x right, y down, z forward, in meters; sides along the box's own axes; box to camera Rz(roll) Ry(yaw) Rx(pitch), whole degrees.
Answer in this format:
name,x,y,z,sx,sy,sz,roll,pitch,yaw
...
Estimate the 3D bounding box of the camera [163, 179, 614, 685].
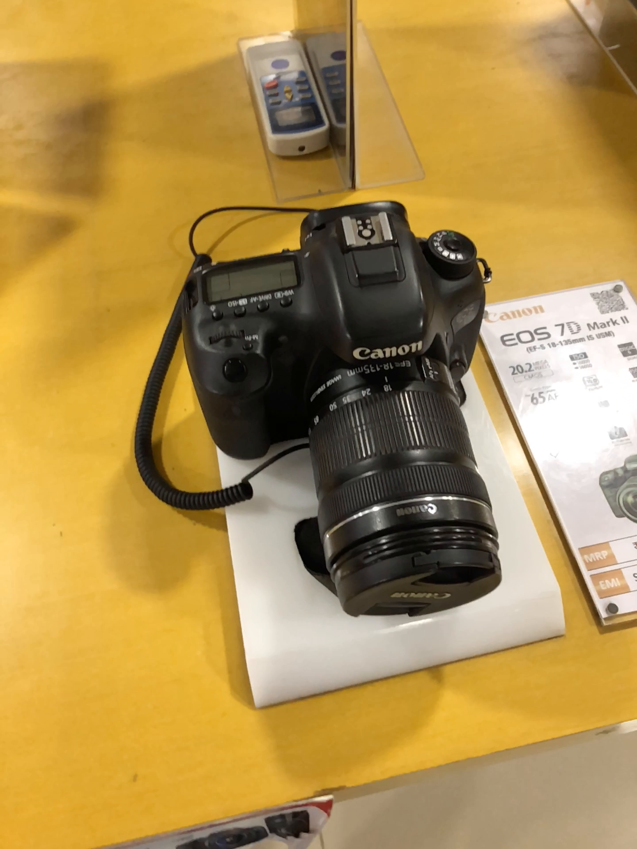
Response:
name,x,y,z,sx,sy,sz,roll,pitch,yaw
camera,0.015,0.002,0.310,0.130,0.109,0.171,-10,58,-5
